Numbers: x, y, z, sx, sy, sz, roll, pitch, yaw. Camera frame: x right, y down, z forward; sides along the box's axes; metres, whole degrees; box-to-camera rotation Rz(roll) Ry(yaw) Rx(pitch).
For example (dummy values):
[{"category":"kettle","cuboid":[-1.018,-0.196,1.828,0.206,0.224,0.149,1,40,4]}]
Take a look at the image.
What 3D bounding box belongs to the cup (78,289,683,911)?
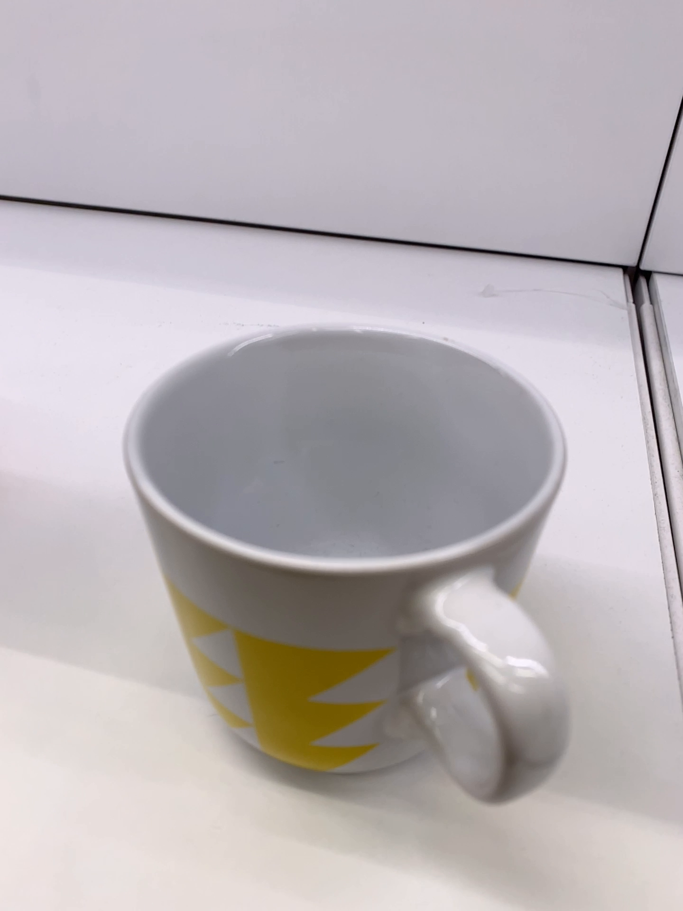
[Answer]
[{"category":"cup","cuboid":[0.005,0.023,0.142,0.084,0.065,0.108,-14,38,-21]}]
